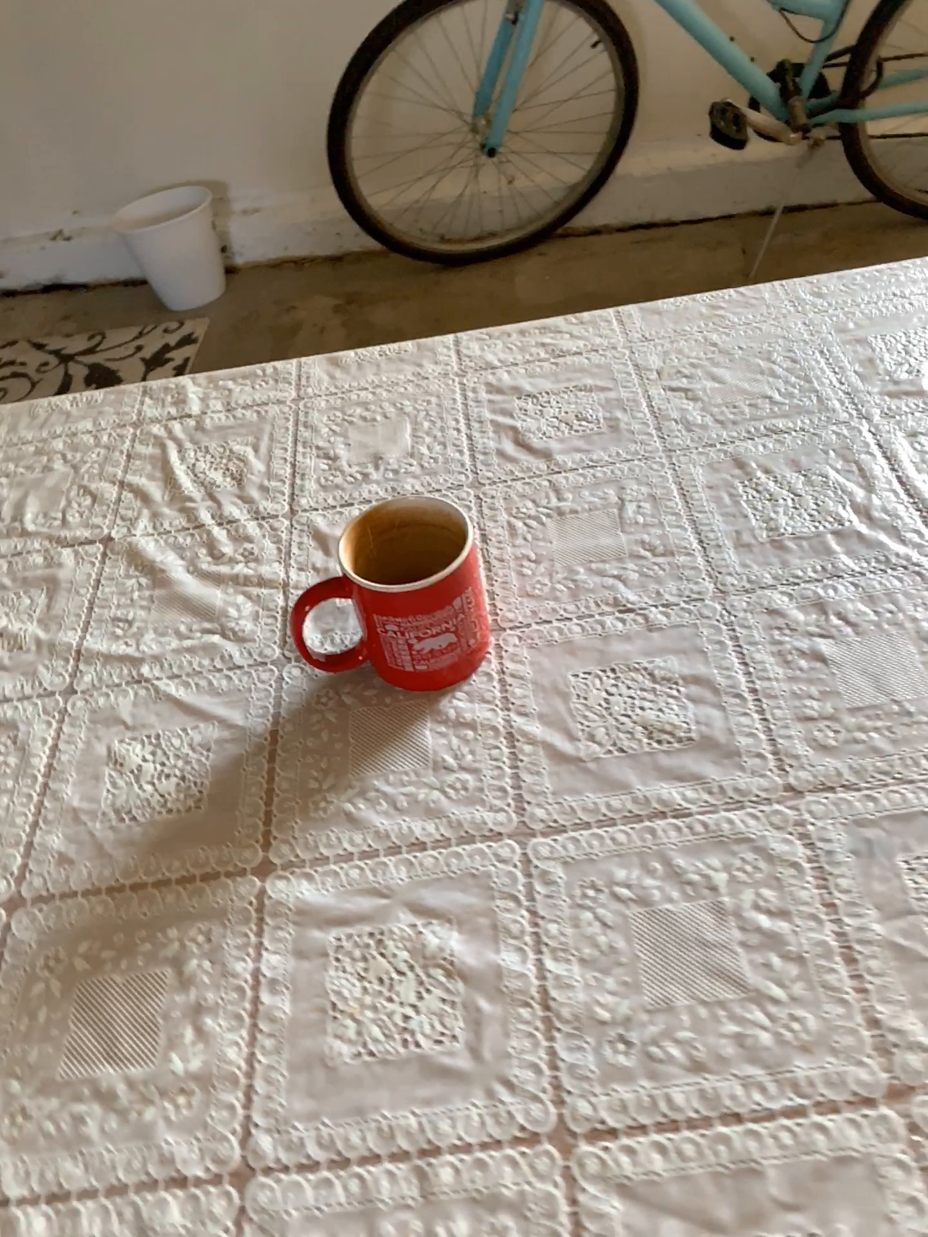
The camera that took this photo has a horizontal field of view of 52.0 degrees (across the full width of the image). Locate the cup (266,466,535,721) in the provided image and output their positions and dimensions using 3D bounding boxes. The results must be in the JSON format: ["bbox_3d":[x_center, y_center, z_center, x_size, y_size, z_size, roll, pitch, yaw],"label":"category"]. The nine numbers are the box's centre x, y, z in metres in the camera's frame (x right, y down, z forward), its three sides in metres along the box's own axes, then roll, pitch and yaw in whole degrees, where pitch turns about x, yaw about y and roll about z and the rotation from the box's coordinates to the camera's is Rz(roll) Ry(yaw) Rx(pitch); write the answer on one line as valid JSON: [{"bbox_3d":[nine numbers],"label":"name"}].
[{"bbox_3d":[-0.040,-0.016,0.603,0.140,0.080,0.100,-16,50,-2],"label":"cup"}]
